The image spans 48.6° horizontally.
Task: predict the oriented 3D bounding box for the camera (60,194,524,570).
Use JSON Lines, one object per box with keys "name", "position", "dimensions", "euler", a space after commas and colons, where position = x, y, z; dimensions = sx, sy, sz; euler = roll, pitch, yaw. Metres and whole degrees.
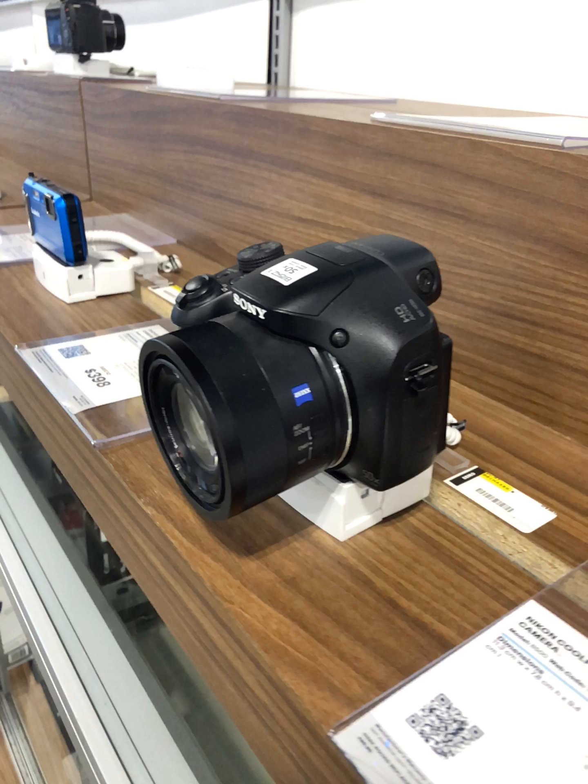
{"name": "camera", "position": [-0.006, -0.022, 0.275], "dimensions": [0.130, 0.089, 0.131], "euler": [-16, 32, -34]}
